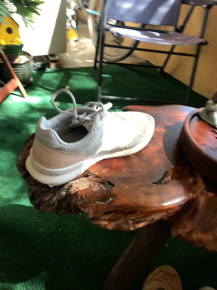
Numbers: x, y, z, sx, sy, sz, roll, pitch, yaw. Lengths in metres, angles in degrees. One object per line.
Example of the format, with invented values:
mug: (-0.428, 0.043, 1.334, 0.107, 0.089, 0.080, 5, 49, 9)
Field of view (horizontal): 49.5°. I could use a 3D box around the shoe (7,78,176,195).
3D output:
shoe: (-0.020, -0.031, 0.417, 0.265, 0.090, 0.103, -21, 47, -28)
